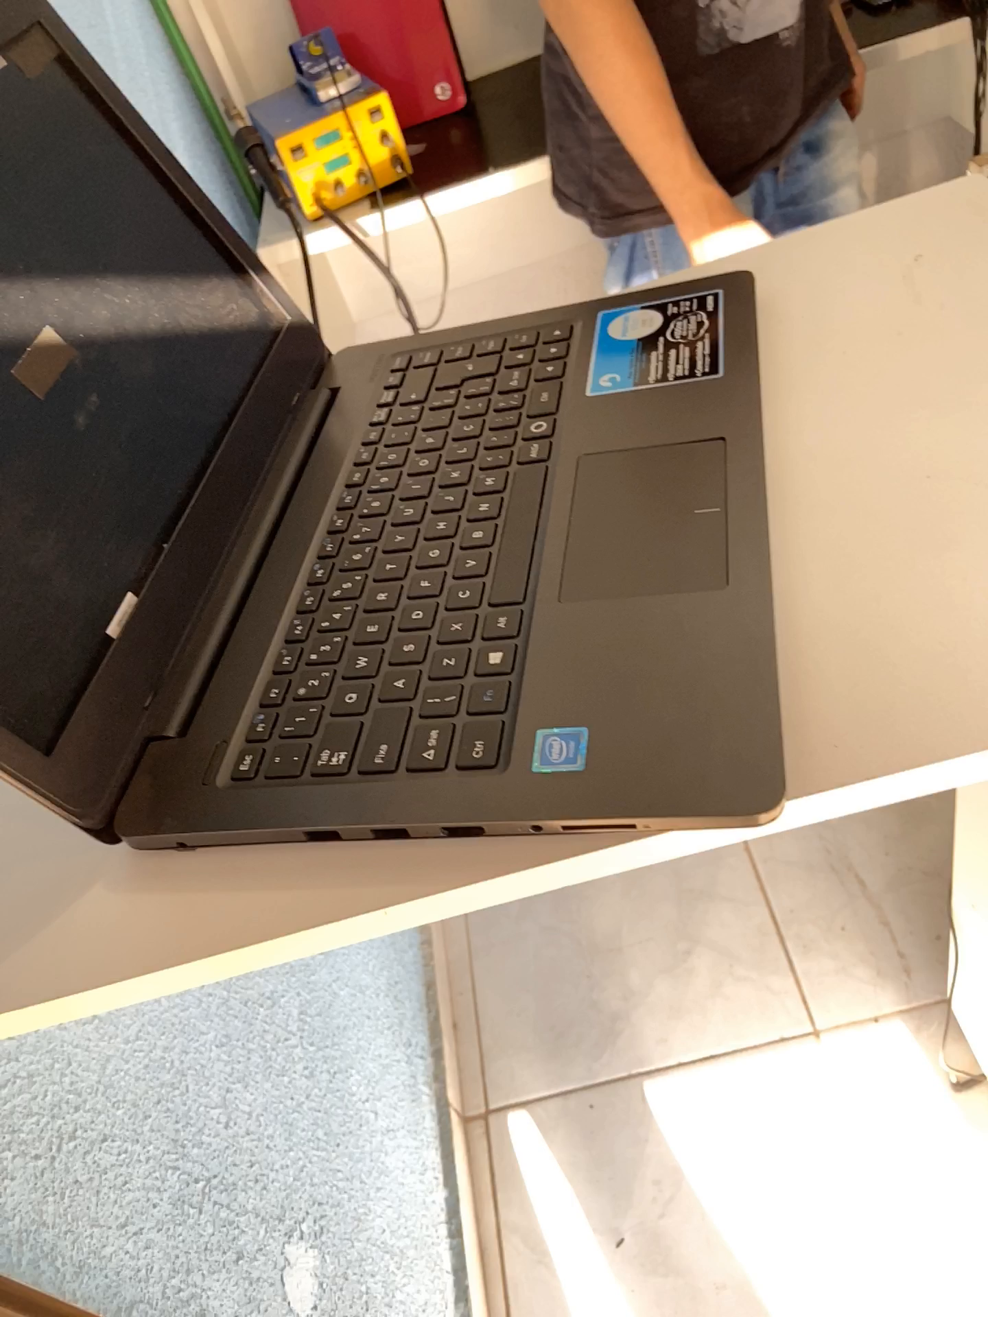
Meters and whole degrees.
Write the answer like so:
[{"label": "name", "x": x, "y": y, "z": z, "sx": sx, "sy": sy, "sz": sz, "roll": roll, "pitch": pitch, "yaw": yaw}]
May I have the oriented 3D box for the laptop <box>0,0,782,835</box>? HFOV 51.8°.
[{"label": "laptop", "x": -0.071, "y": -0.139, "z": 0.390, "sx": 0.309, "sy": 0.214, "sz": 0.339, "roll": -5, "pitch": 46, "yaw": 17}]
